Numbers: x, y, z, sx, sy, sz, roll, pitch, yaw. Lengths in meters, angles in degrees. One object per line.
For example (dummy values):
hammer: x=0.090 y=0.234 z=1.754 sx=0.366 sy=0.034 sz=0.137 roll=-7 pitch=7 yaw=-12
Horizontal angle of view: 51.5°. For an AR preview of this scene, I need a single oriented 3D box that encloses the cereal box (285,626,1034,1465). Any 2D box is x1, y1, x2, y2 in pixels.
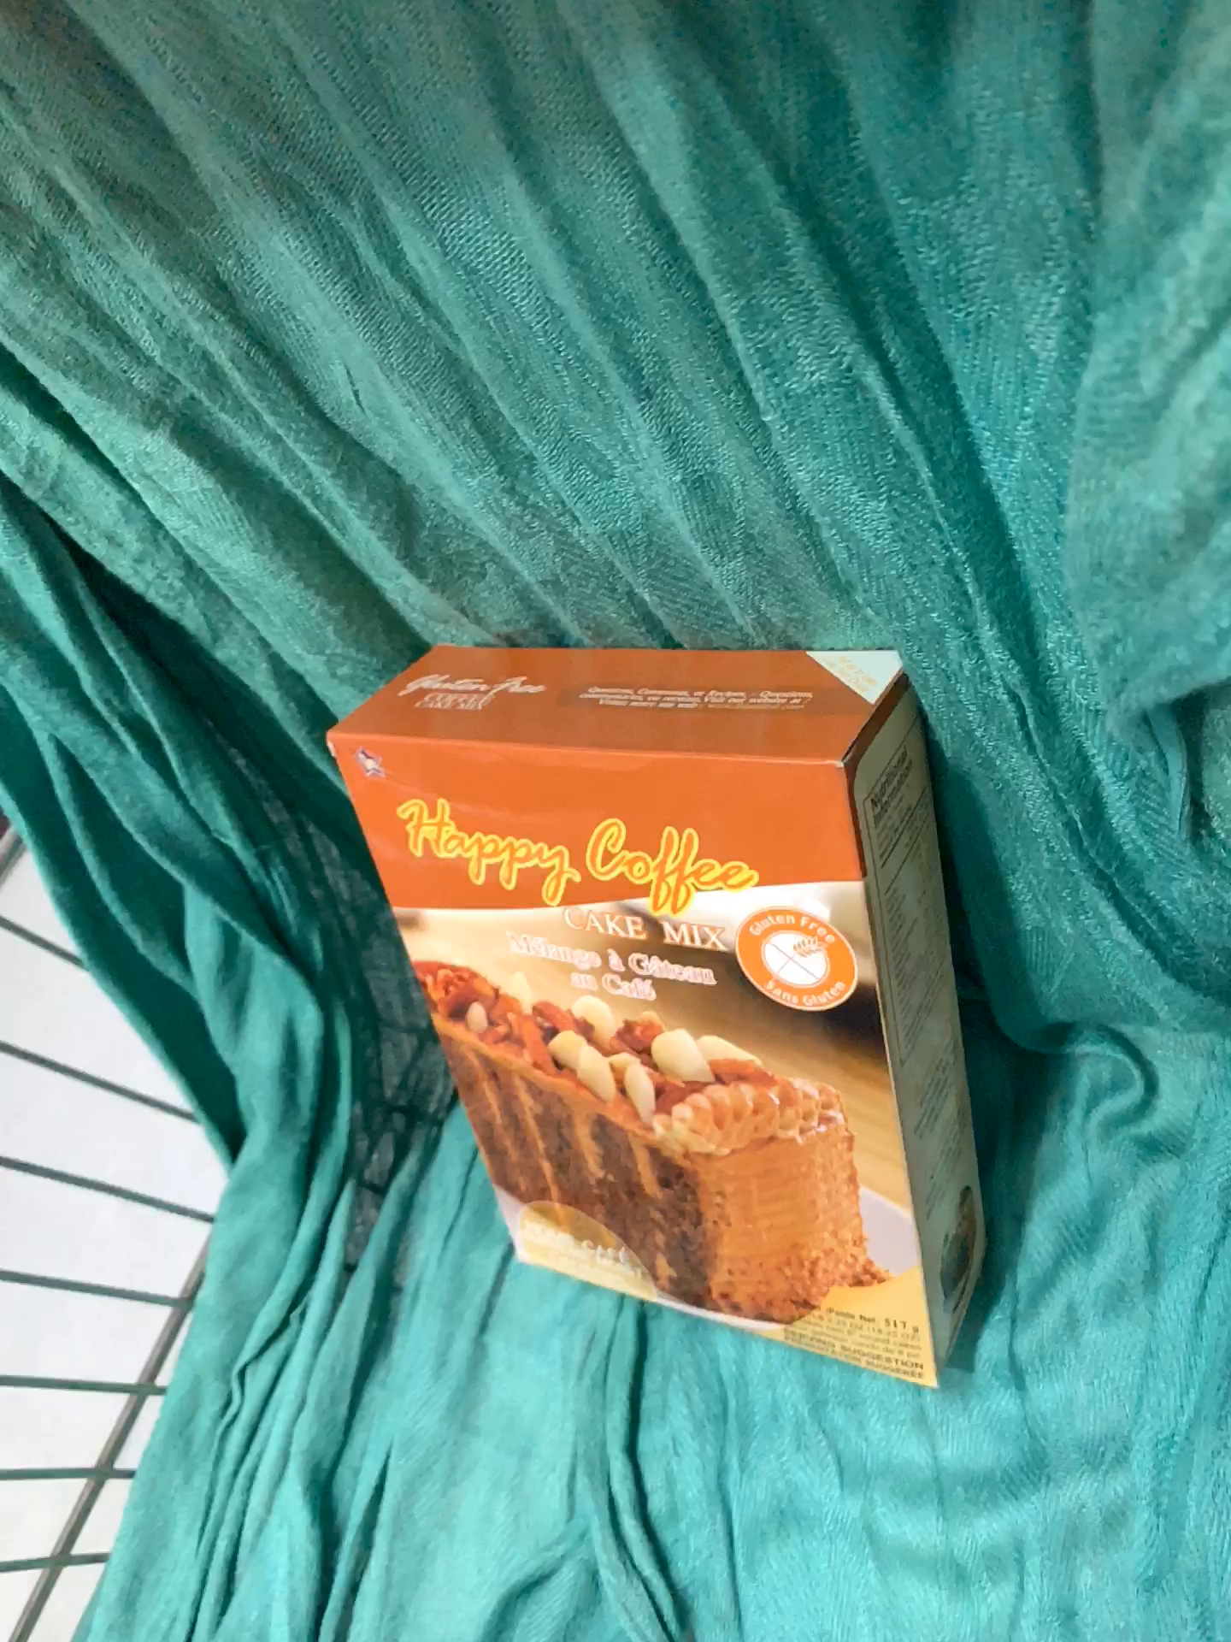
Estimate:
cereal box: x=0.020 y=0.057 z=0.332 sx=0.150 sy=0.209 sz=0.050 roll=5 pitch=34 yaw=31
